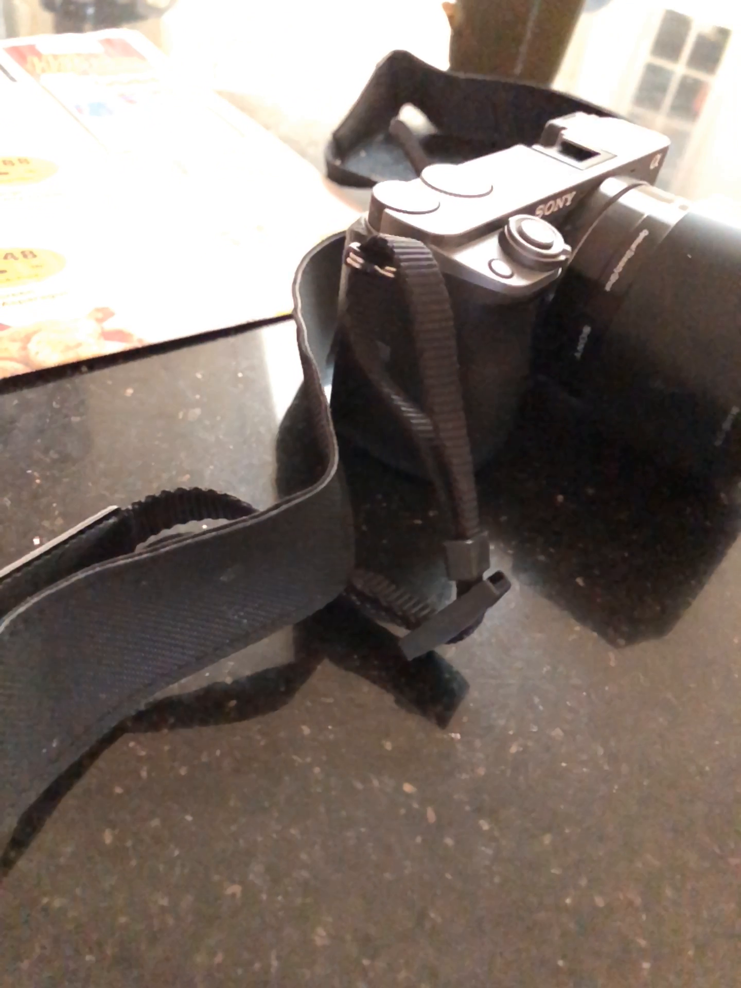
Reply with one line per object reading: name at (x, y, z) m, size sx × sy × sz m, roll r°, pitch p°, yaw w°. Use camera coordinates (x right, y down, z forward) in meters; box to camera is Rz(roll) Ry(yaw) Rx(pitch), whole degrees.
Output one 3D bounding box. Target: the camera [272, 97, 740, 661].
camera at (0.061, -0.045, 0.230) m, size 0.110 × 0.070 × 0.131 m, roll 36°, pitch 47°, yaw 23°
